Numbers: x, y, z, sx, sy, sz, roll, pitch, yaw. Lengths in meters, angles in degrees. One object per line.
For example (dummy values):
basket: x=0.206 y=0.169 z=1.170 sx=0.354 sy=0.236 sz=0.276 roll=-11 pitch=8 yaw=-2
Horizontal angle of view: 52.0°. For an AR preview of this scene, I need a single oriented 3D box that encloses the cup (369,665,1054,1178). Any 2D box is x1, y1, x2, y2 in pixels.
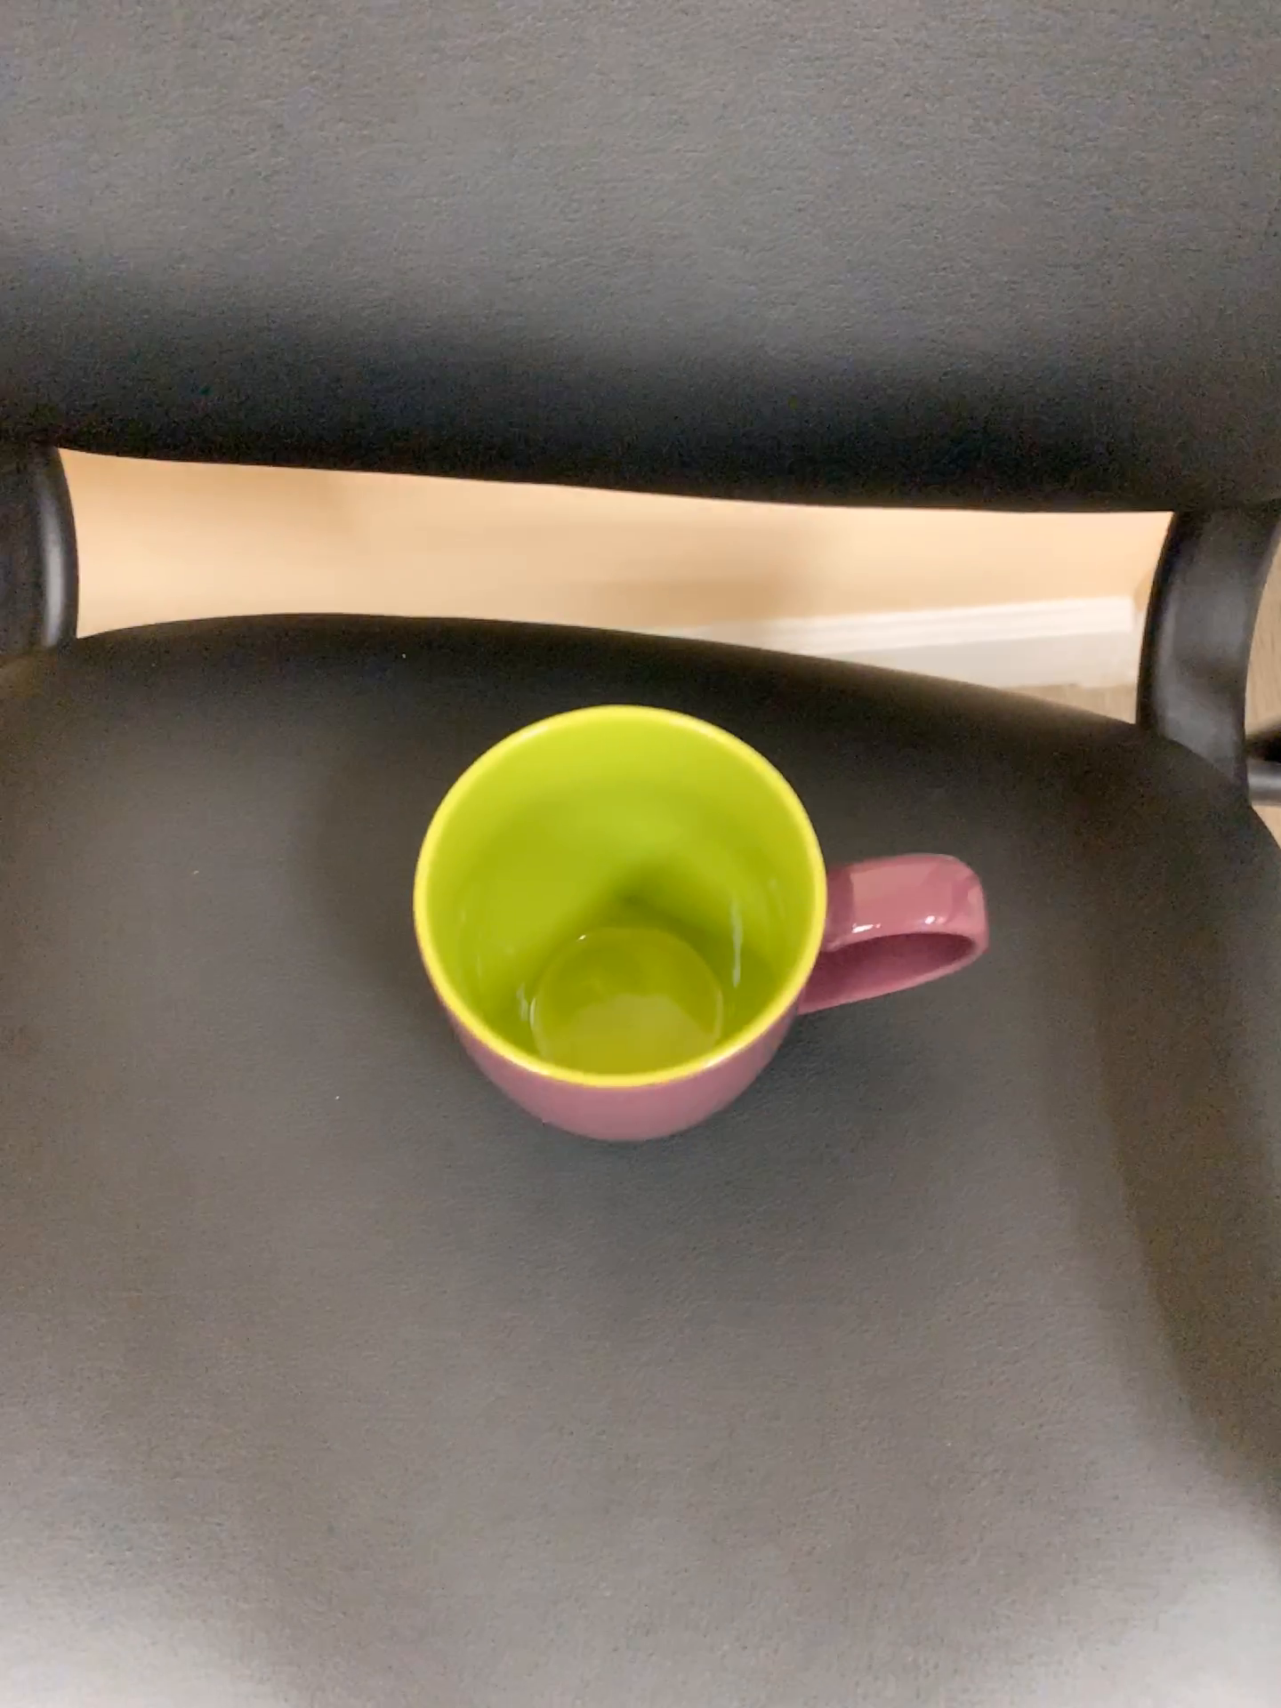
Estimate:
cup: x=0.012 y=0.024 z=0.345 sx=0.143 sy=0.109 sz=0.090 roll=-6 pitch=68 yaw=-2
